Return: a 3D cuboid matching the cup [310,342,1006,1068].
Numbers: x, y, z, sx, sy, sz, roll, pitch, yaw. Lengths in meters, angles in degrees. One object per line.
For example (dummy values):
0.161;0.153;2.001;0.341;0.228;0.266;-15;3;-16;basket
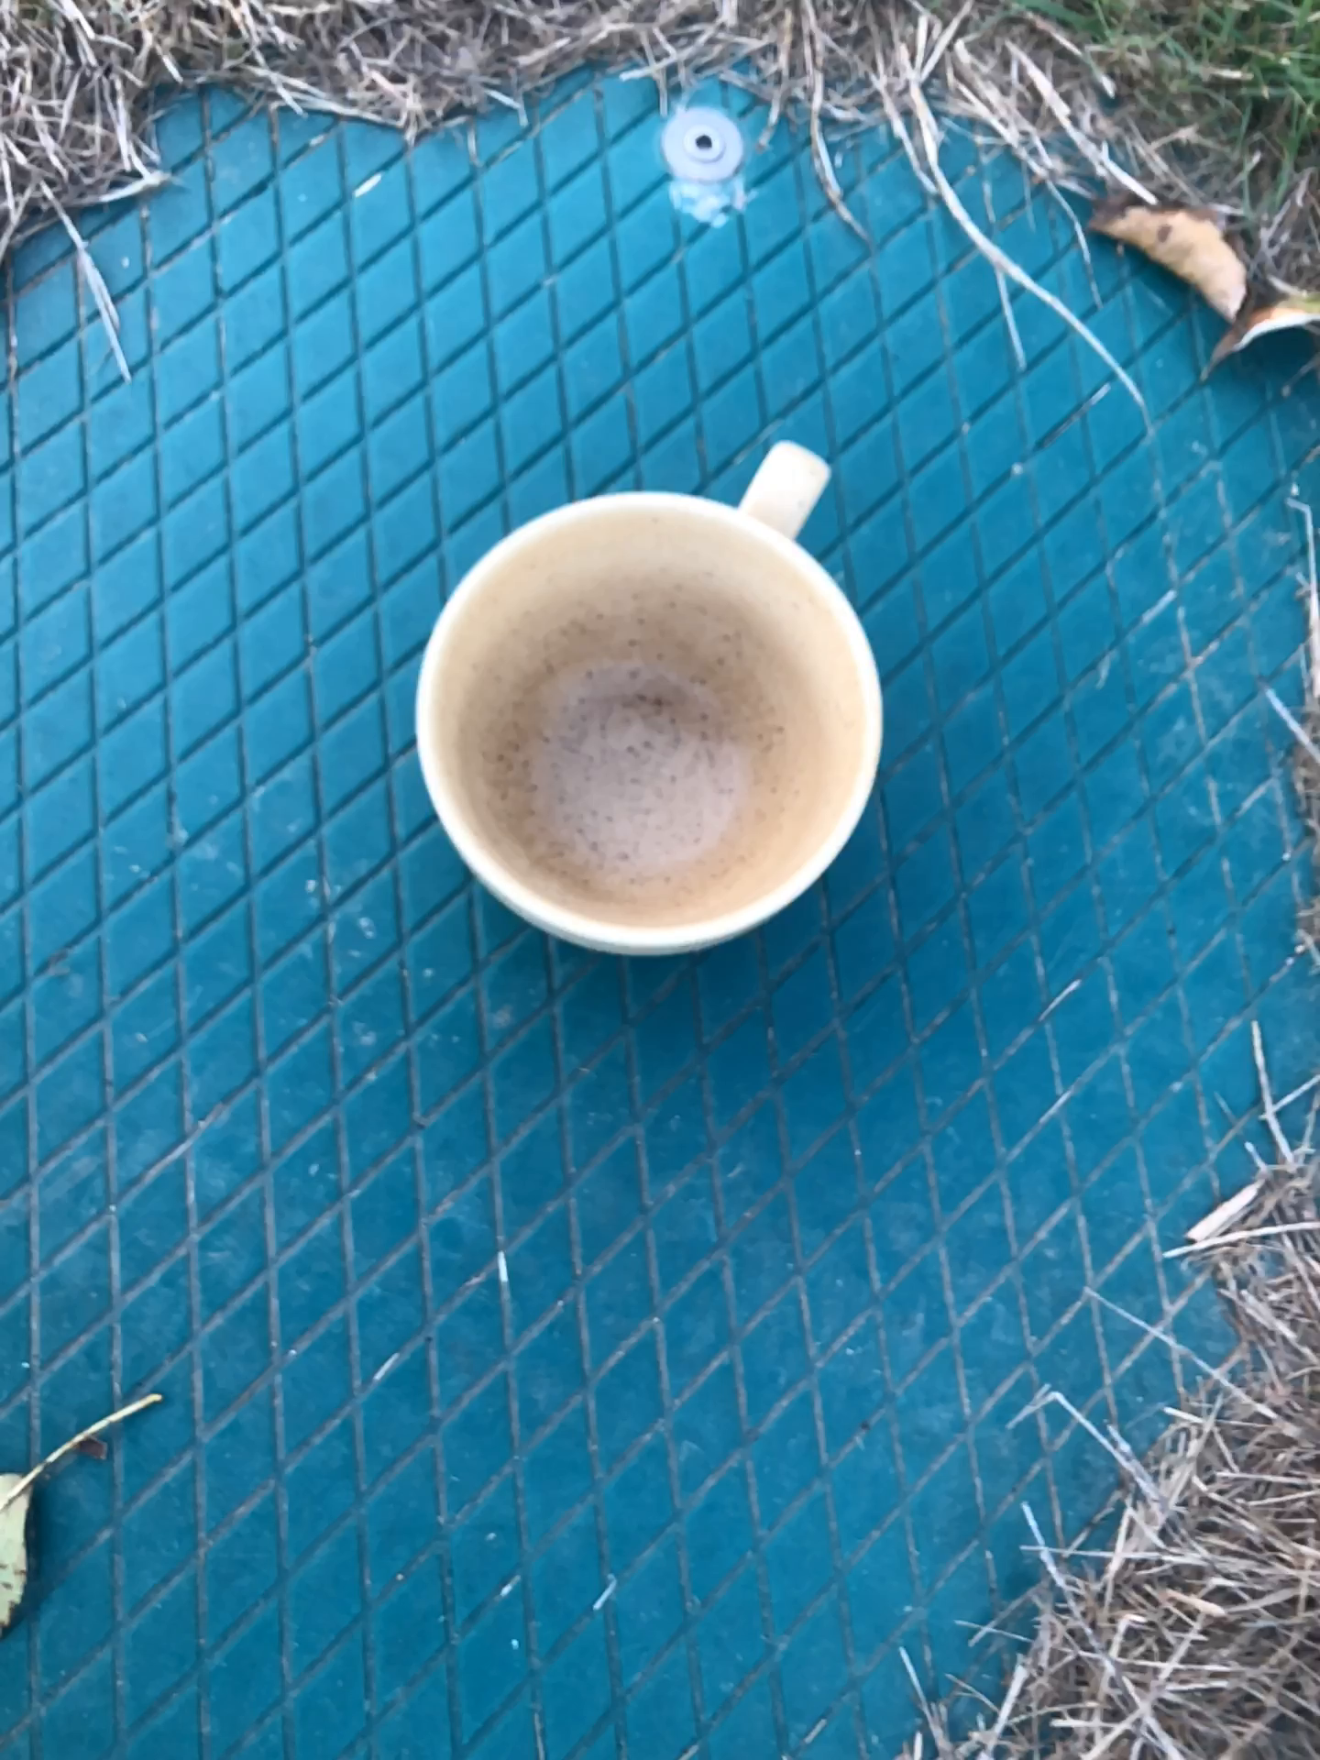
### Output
0.000;-0.044;0.397;0.124;0.065;0.142;27;76;1;cup
